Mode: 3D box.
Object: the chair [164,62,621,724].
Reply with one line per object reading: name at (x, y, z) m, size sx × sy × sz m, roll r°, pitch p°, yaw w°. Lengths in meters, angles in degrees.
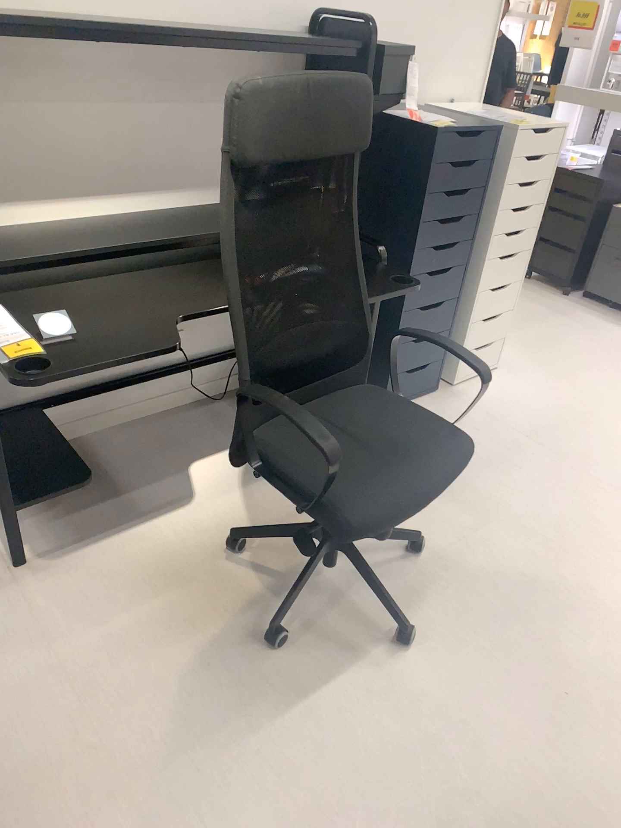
chair at (0.133, -0.080, 1.514) m, size 0.641 × 1.245 × 0.712 m, roll -22°, pitch 42°, yaw -39°
